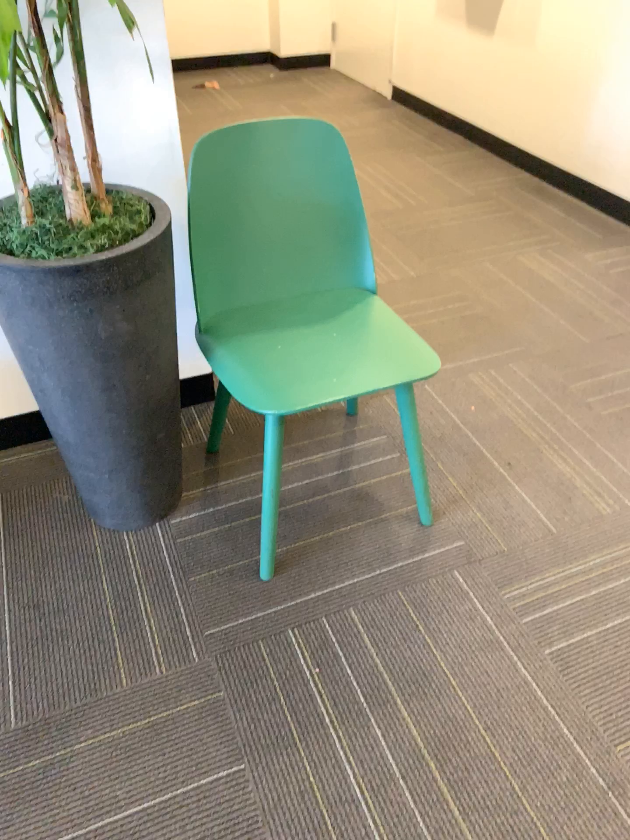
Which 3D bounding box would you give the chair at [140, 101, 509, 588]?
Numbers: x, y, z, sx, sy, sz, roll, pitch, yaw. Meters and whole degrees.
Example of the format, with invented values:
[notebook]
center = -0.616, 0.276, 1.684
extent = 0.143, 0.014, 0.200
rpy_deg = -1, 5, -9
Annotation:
[chair]
center = -0.042, -0.191, 1.301
extent = 0.390, 0.626, 0.714
rpy_deg = -14, 42, -16
